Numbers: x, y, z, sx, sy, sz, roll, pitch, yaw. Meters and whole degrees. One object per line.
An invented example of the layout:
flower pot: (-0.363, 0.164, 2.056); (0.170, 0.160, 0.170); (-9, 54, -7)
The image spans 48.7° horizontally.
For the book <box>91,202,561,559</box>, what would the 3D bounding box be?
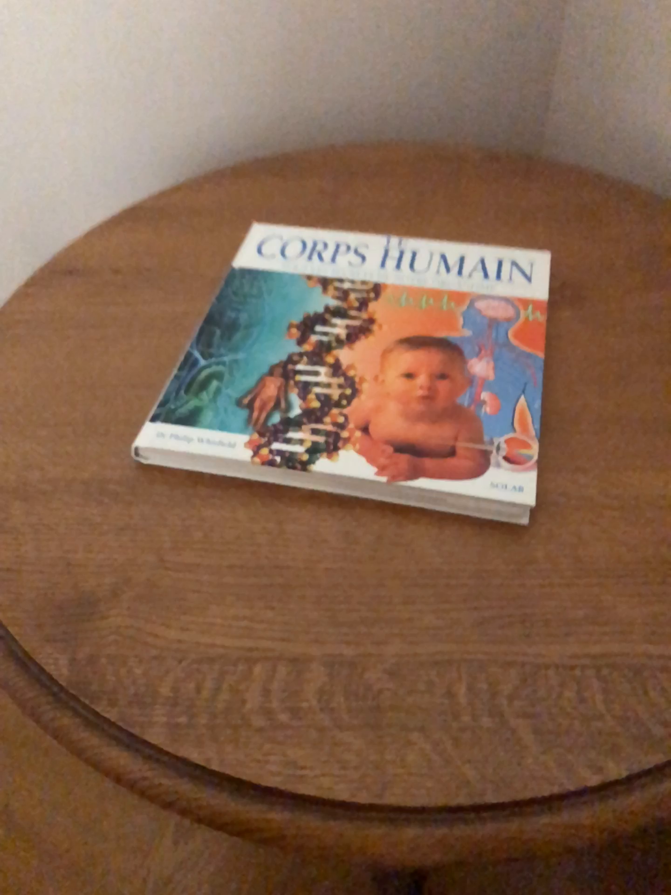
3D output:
book: (0.016, -0.074, 0.538); (0.270, 0.040, 0.292); (9, 49, 11)
